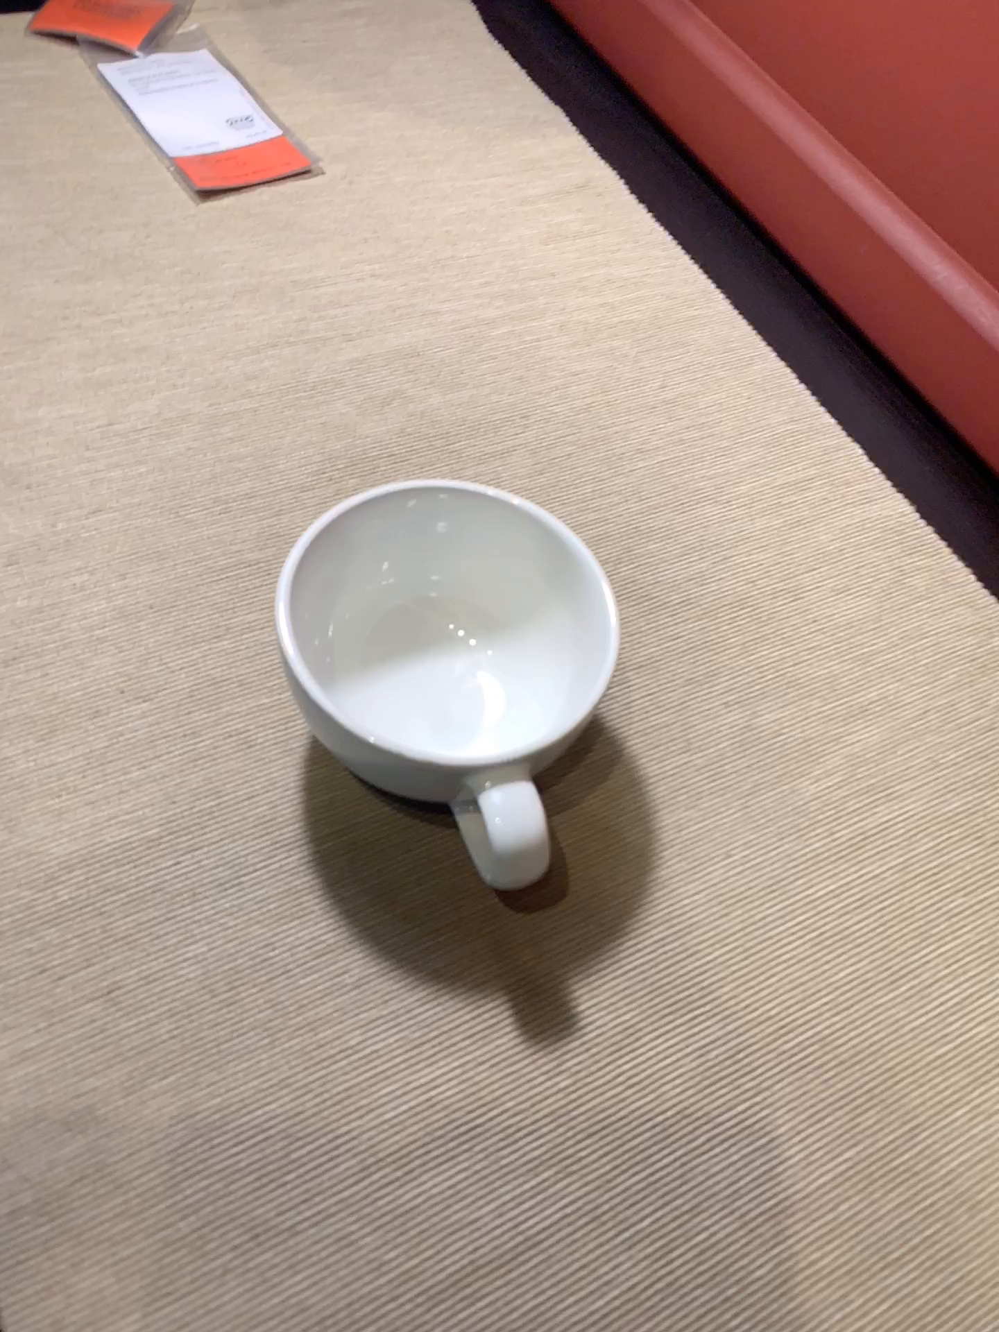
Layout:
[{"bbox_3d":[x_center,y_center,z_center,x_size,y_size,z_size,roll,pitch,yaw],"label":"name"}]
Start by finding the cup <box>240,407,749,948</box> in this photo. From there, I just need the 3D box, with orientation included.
[{"bbox_3d":[-0.009,-0.001,0.264,0.090,0.060,0.110,-12,58,-17],"label":"cup"}]
